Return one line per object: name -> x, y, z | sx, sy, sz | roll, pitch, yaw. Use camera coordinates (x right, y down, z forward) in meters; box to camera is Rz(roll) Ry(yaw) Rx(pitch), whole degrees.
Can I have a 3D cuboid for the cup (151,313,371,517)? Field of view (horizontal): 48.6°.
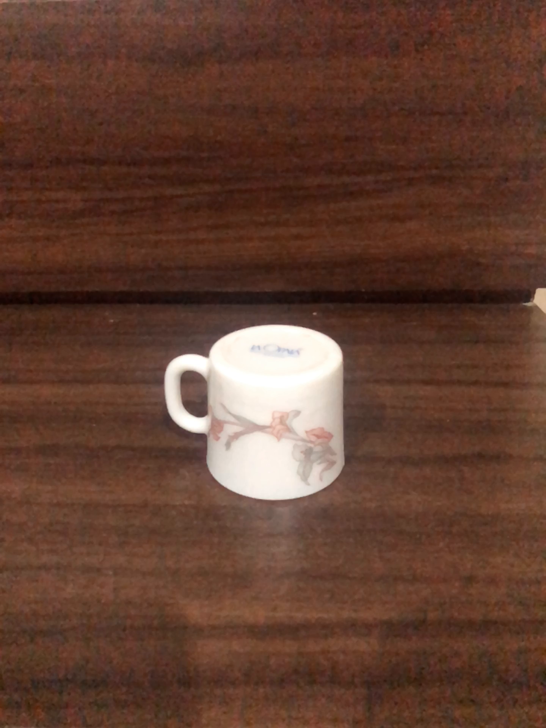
cup -> -0.001, 0.022, 0.291 | 0.090, 0.070, 0.060 | 3, 30, 9
